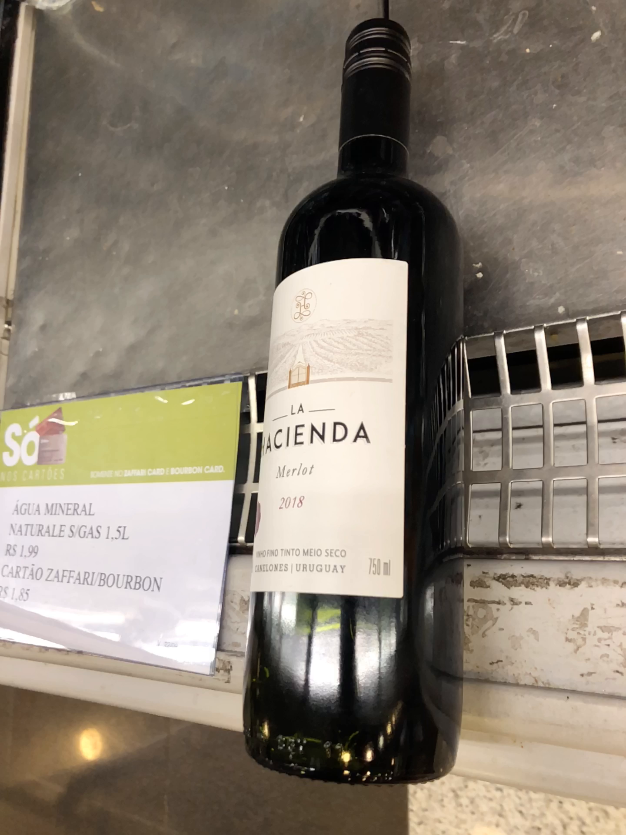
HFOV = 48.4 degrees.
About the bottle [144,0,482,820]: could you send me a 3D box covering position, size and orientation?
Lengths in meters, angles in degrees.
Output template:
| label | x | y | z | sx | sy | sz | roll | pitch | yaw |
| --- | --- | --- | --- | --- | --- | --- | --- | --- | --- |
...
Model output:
| label | x | y | z | sx | sy | sz | roll | pitch | yaw |
| --- | --- | --- | --- | --- | --- | --- | --- | --- | --- |
| bottle | 0.010 | -0.036 | 0.256 | 0.080 | 0.070 | 0.300 | -7 | 72 | 34 |
